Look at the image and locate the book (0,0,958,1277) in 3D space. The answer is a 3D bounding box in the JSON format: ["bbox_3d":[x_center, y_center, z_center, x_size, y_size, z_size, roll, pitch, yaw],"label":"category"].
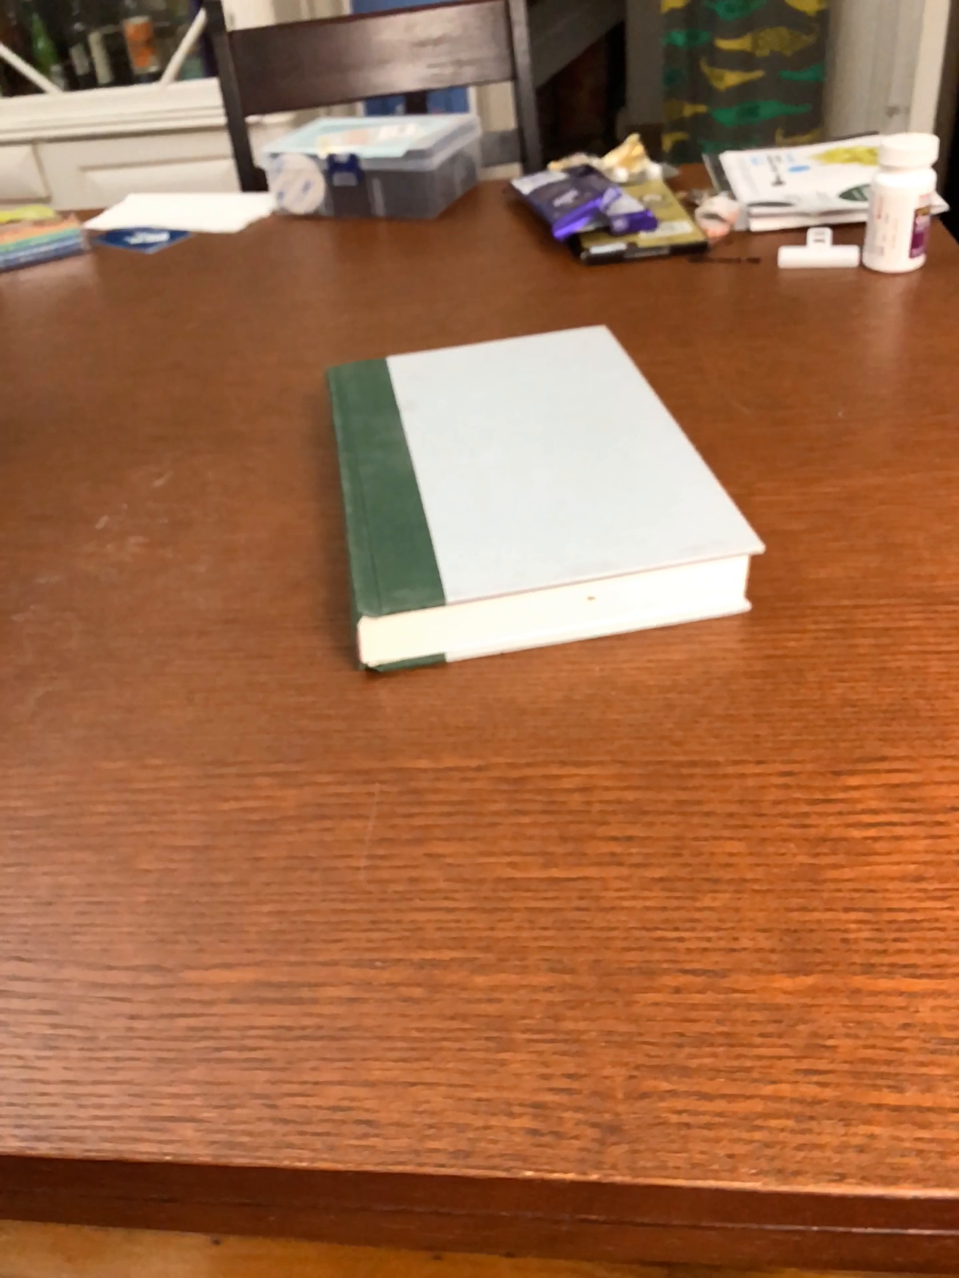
[{"bbox_3d":[0.060,-0.219,0.058,1.002,0.994,1.004,-22,39,-19],"label":"book"}]
